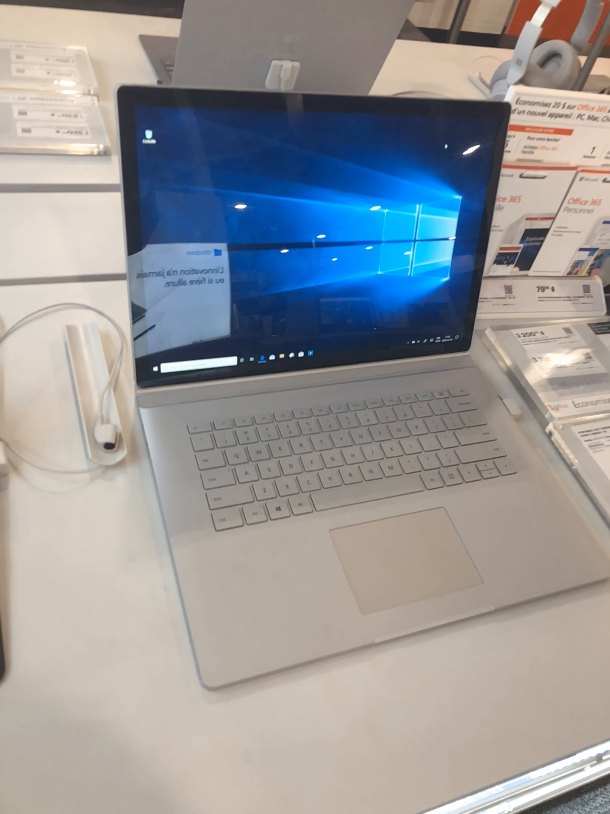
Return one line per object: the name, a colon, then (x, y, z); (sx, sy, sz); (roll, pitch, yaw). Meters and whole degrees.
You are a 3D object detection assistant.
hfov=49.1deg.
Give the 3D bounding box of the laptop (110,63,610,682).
laptop: (0.055, -0.053, 0.515); (0.339, 0.207, 0.365); (-7, 53, -22)
